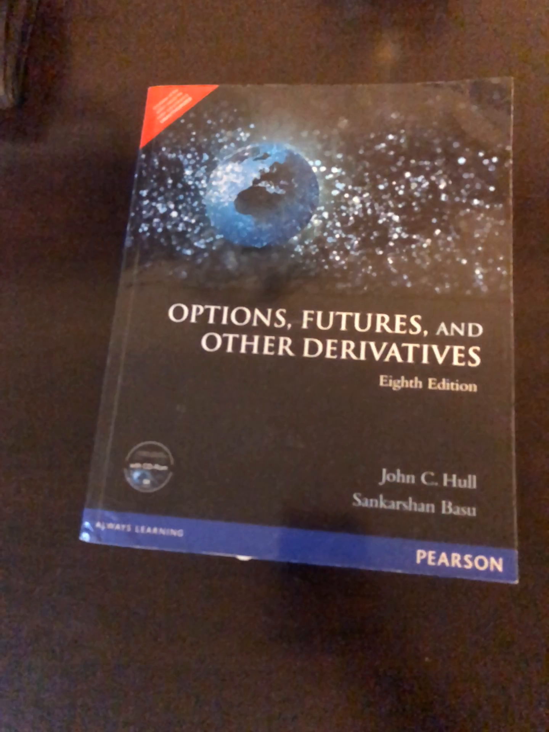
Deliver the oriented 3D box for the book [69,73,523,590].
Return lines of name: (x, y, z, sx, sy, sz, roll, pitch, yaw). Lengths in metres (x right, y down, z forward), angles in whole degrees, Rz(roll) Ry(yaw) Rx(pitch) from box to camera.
book: (0.019, -0.029, 0.329, 0.207, 0.050, 0.261, 3, 77, 6)
